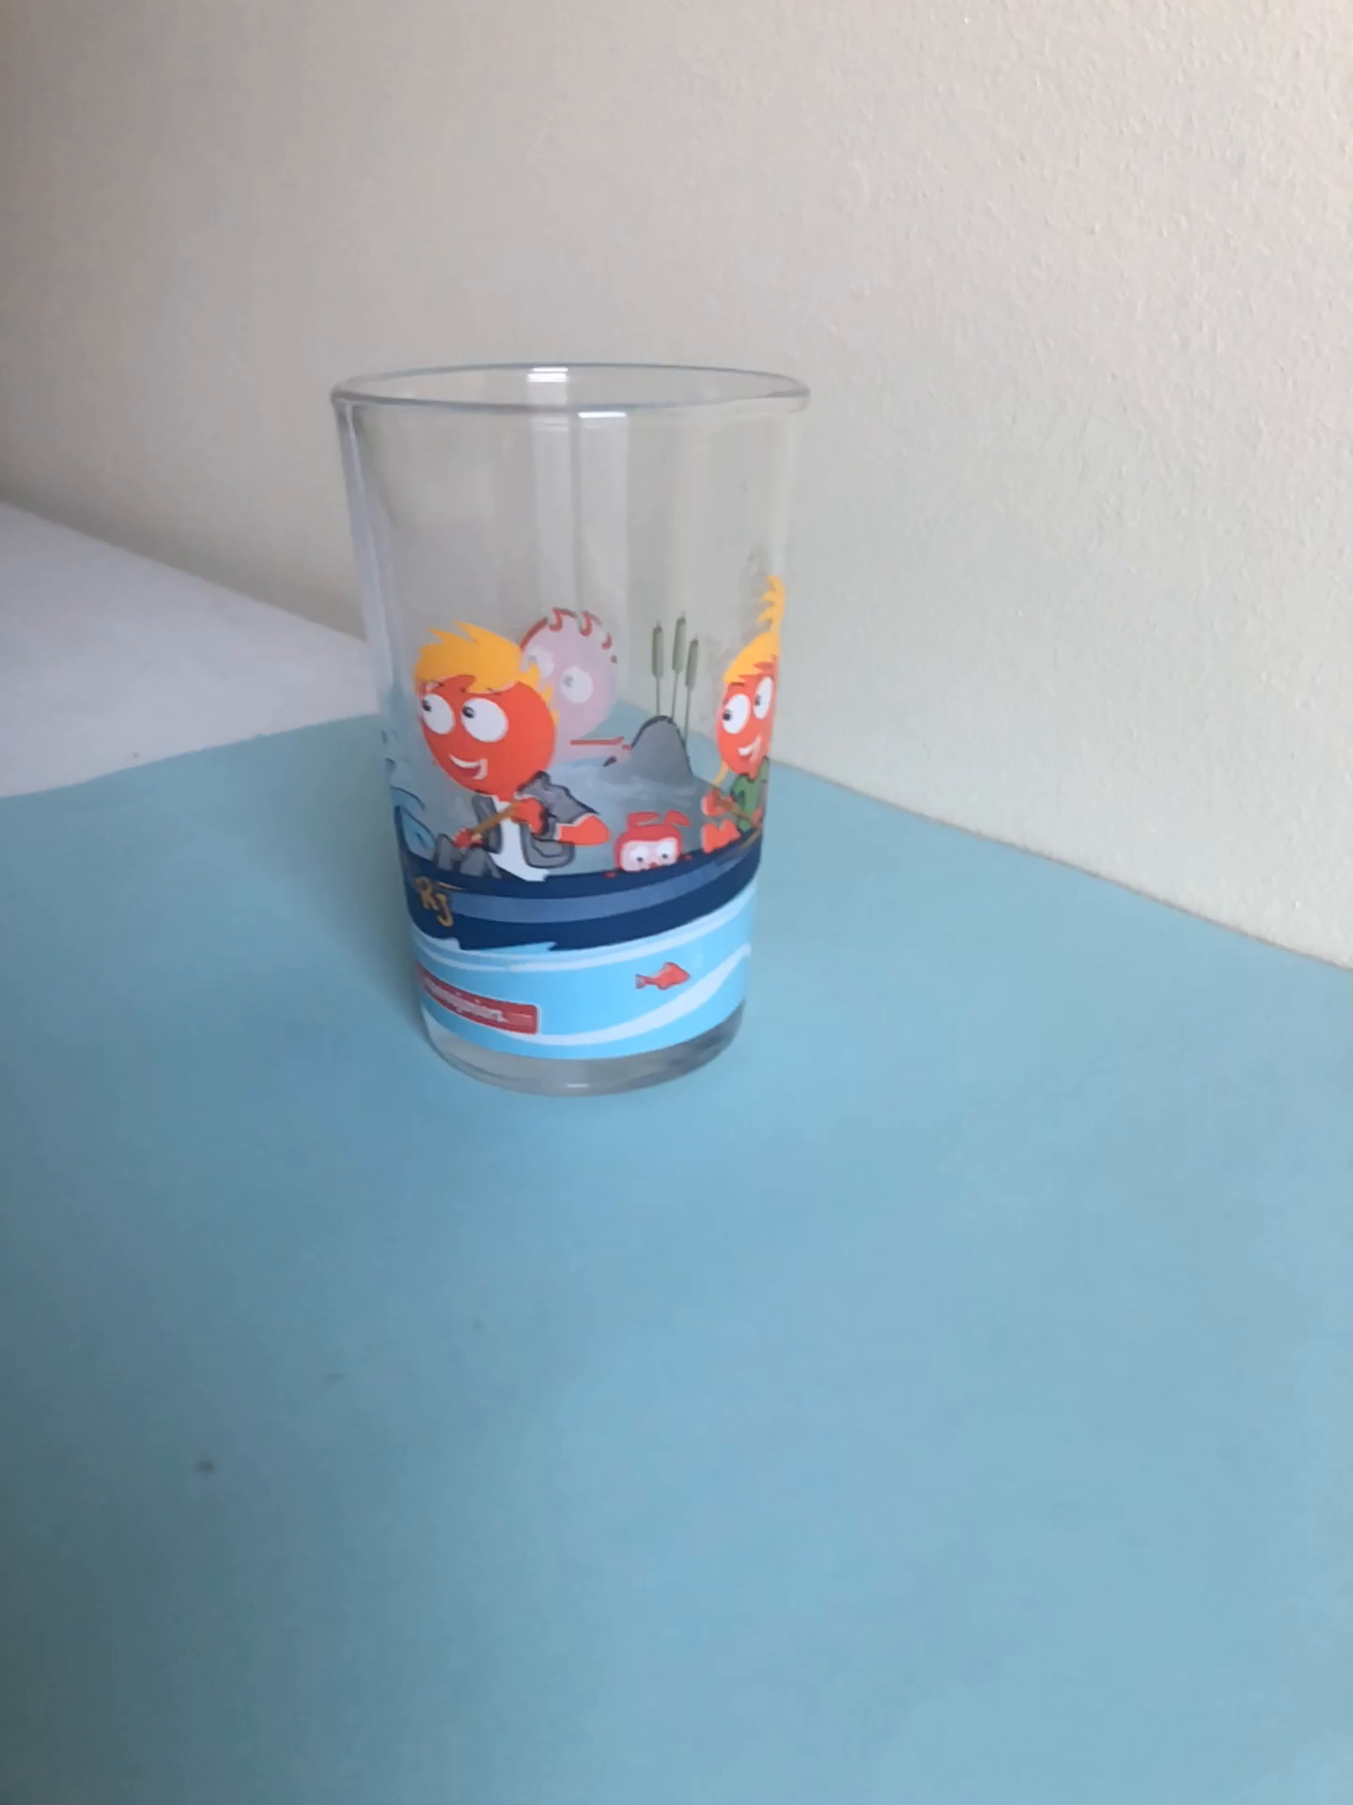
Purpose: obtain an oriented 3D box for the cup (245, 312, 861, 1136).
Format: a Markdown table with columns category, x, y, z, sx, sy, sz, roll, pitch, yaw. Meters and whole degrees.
| category | x | y | z | sx | sy | sz | roll | pitch | yaw |
| --- | --- | --- | --- | --- | --- | --- | --- | --- | --- |
| cup | -0.013 | -0.030 | 0.218 | 0.060 | 0.099 | 0.060 | 0 | 23 | 0 |
